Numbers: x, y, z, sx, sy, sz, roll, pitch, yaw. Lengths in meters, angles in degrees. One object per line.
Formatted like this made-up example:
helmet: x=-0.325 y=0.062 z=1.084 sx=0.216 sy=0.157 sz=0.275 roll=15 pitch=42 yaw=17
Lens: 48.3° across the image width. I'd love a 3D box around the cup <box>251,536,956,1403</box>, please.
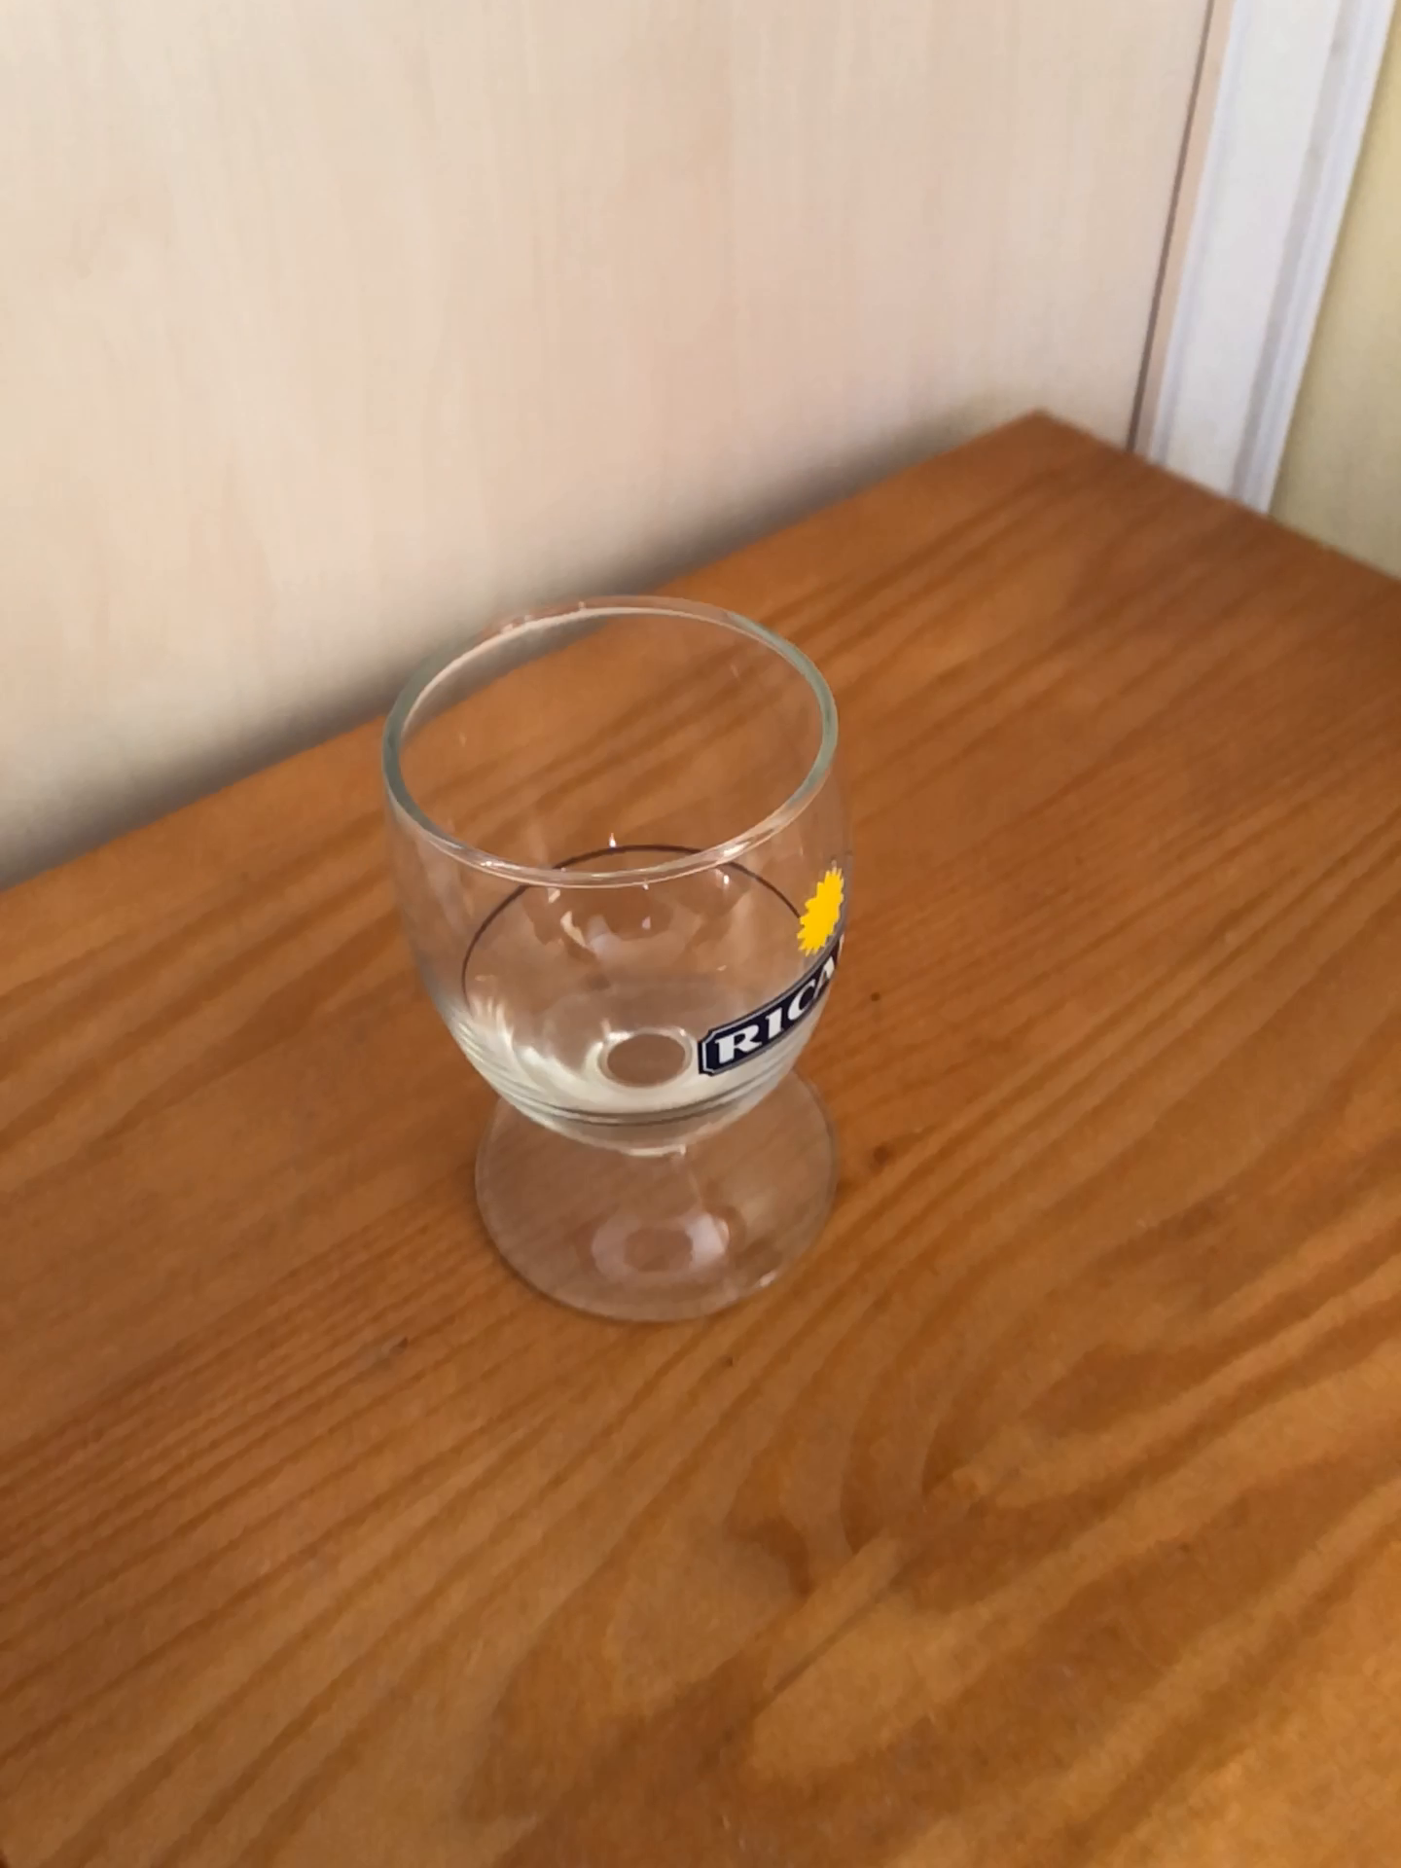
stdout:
cup: x=-0.010 y=0.006 z=0.244 sx=0.069 sy=0.098 sz=0.070 roll=-1 pitch=44 yaw=1
